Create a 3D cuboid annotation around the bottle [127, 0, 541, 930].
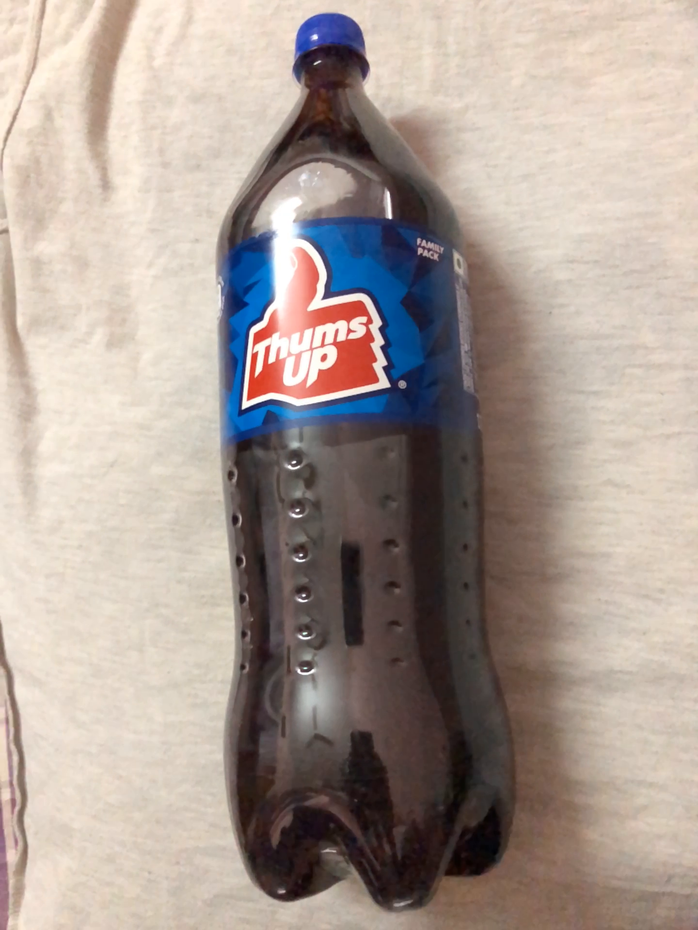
[{"bbox_3d":[-0.009,-0.026,0.251,0.100,0.060,0.300,-8,79,18],"label":"bottle"}]
